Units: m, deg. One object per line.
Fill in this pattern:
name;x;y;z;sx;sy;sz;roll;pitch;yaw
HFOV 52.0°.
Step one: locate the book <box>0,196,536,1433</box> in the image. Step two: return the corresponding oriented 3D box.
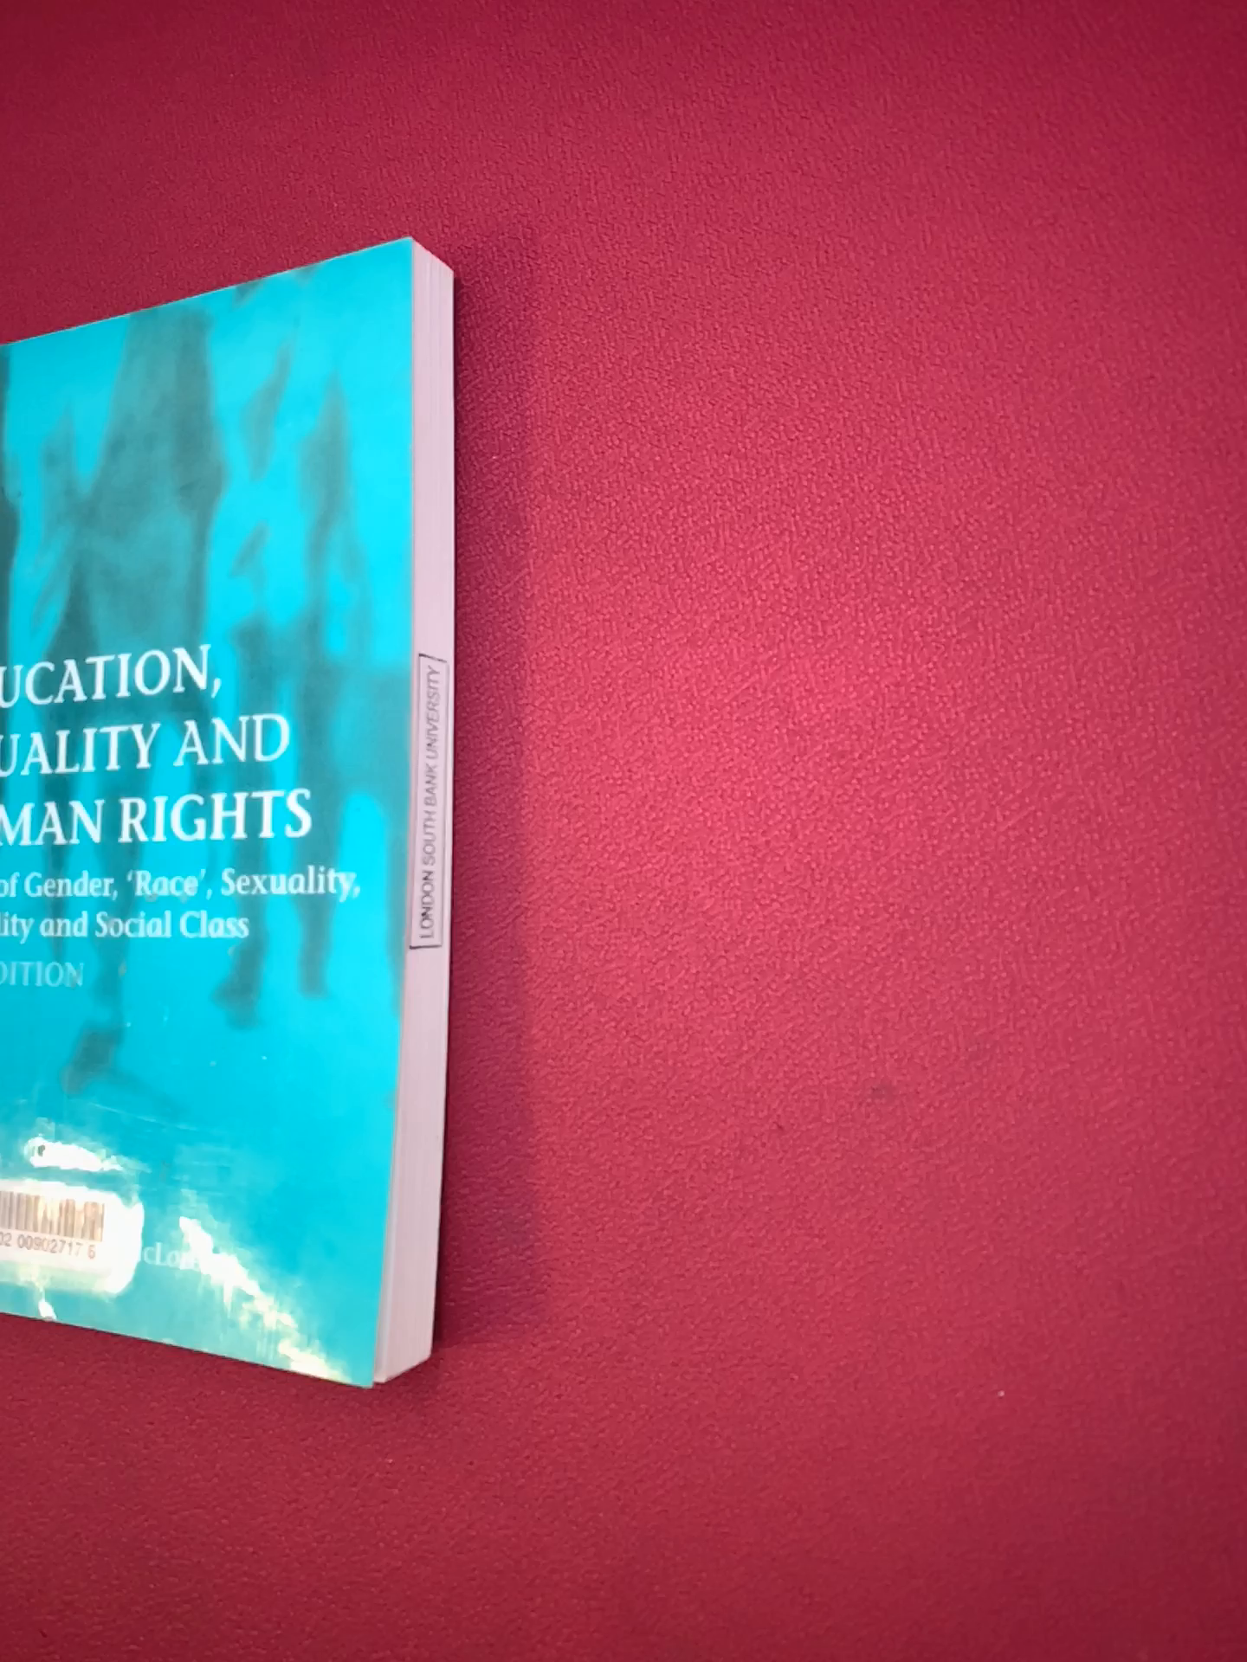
book;-0.109;-0.005;0.308;0.180;0.030;0.250;-2;84;25
